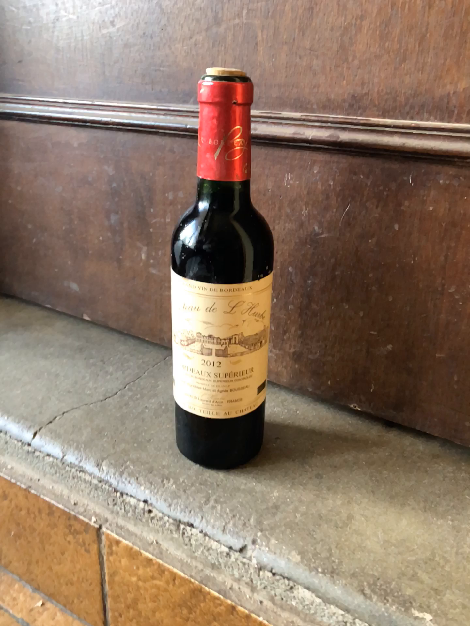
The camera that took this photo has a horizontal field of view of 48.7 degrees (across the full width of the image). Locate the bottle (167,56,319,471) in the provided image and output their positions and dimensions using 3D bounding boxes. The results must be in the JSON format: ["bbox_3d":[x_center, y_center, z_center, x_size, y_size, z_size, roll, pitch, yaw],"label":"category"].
[{"bbox_3d":[-0.001,-0.020,0.314,0.070,0.239,0.060,1,24,-3],"label":"bottle"}]
